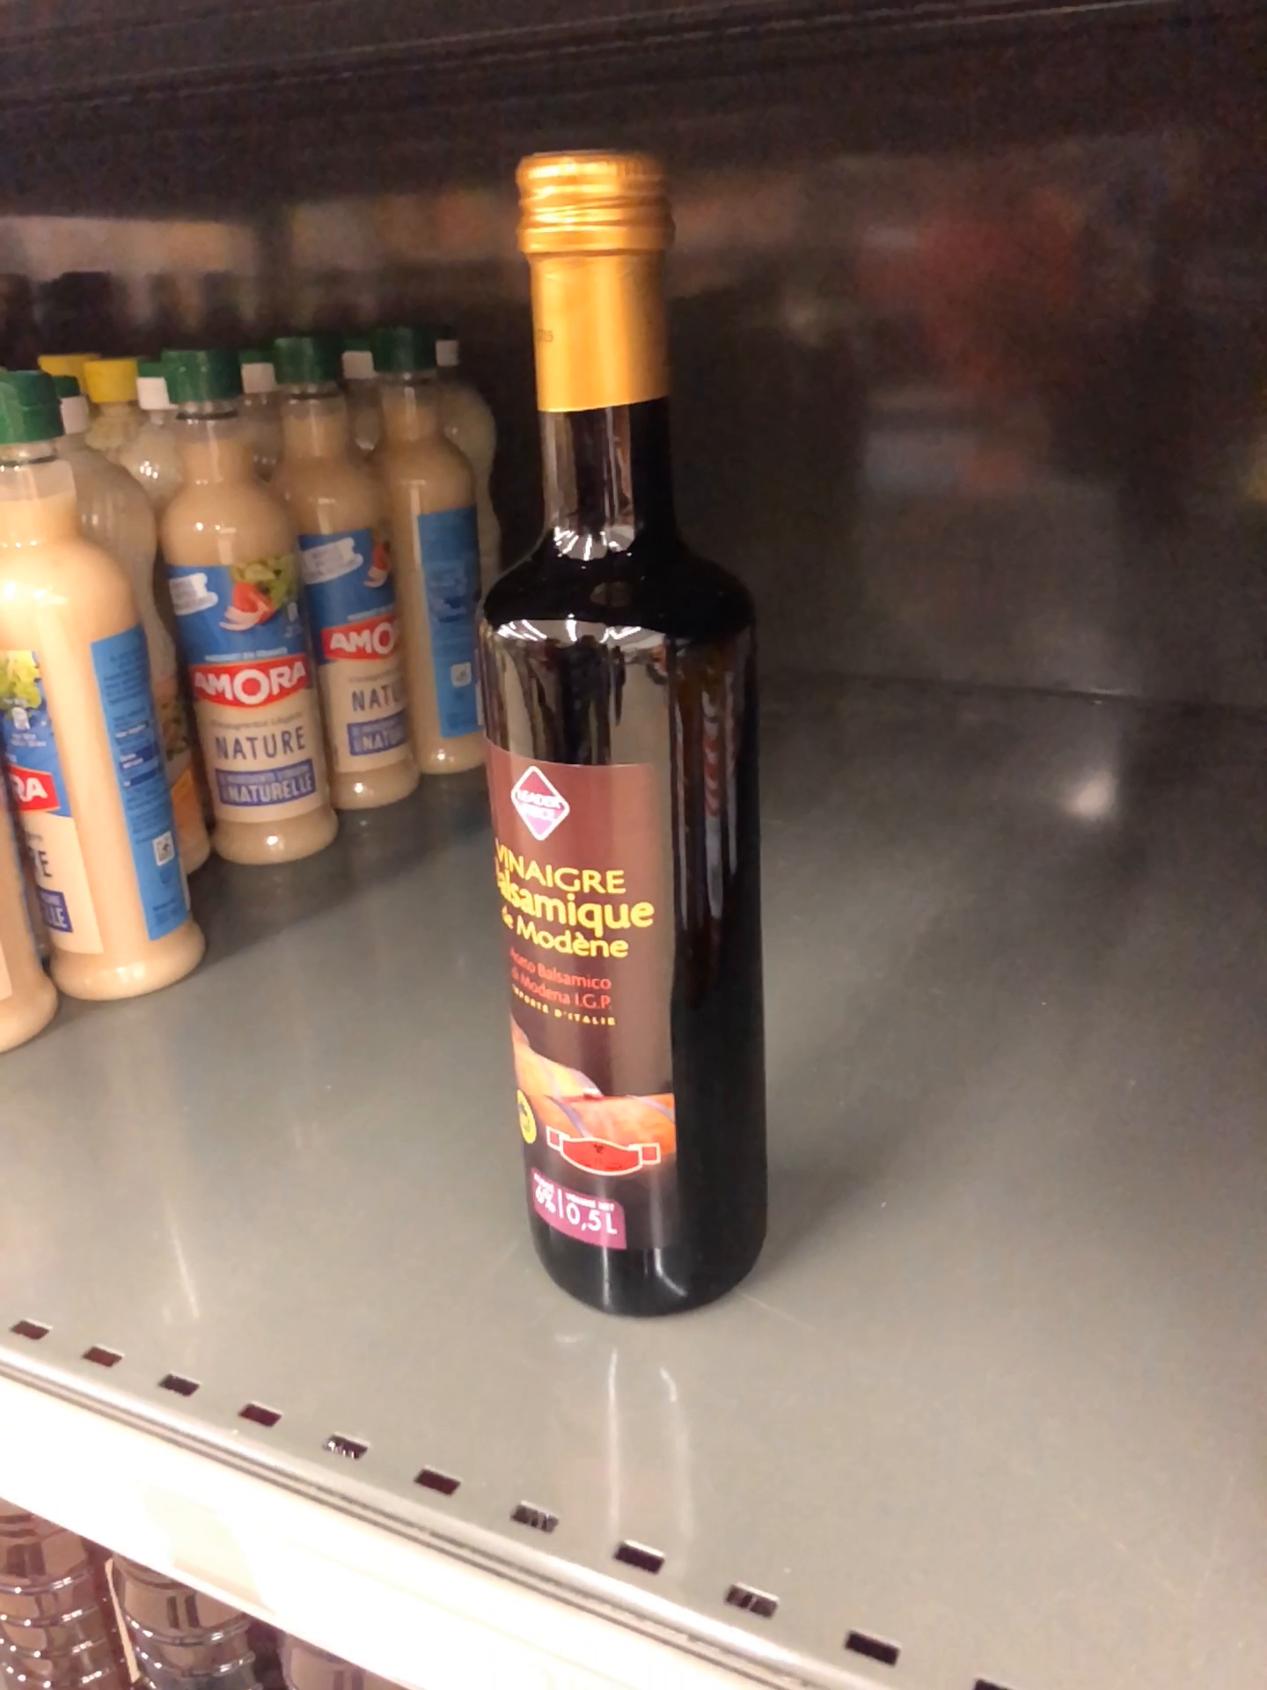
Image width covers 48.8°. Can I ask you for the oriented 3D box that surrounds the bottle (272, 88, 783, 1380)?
[{"bbox_3d":[-0.014,-0.017,0.322,0.070,0.269,0.070,-2,22,1],"label":"bottle"}]
